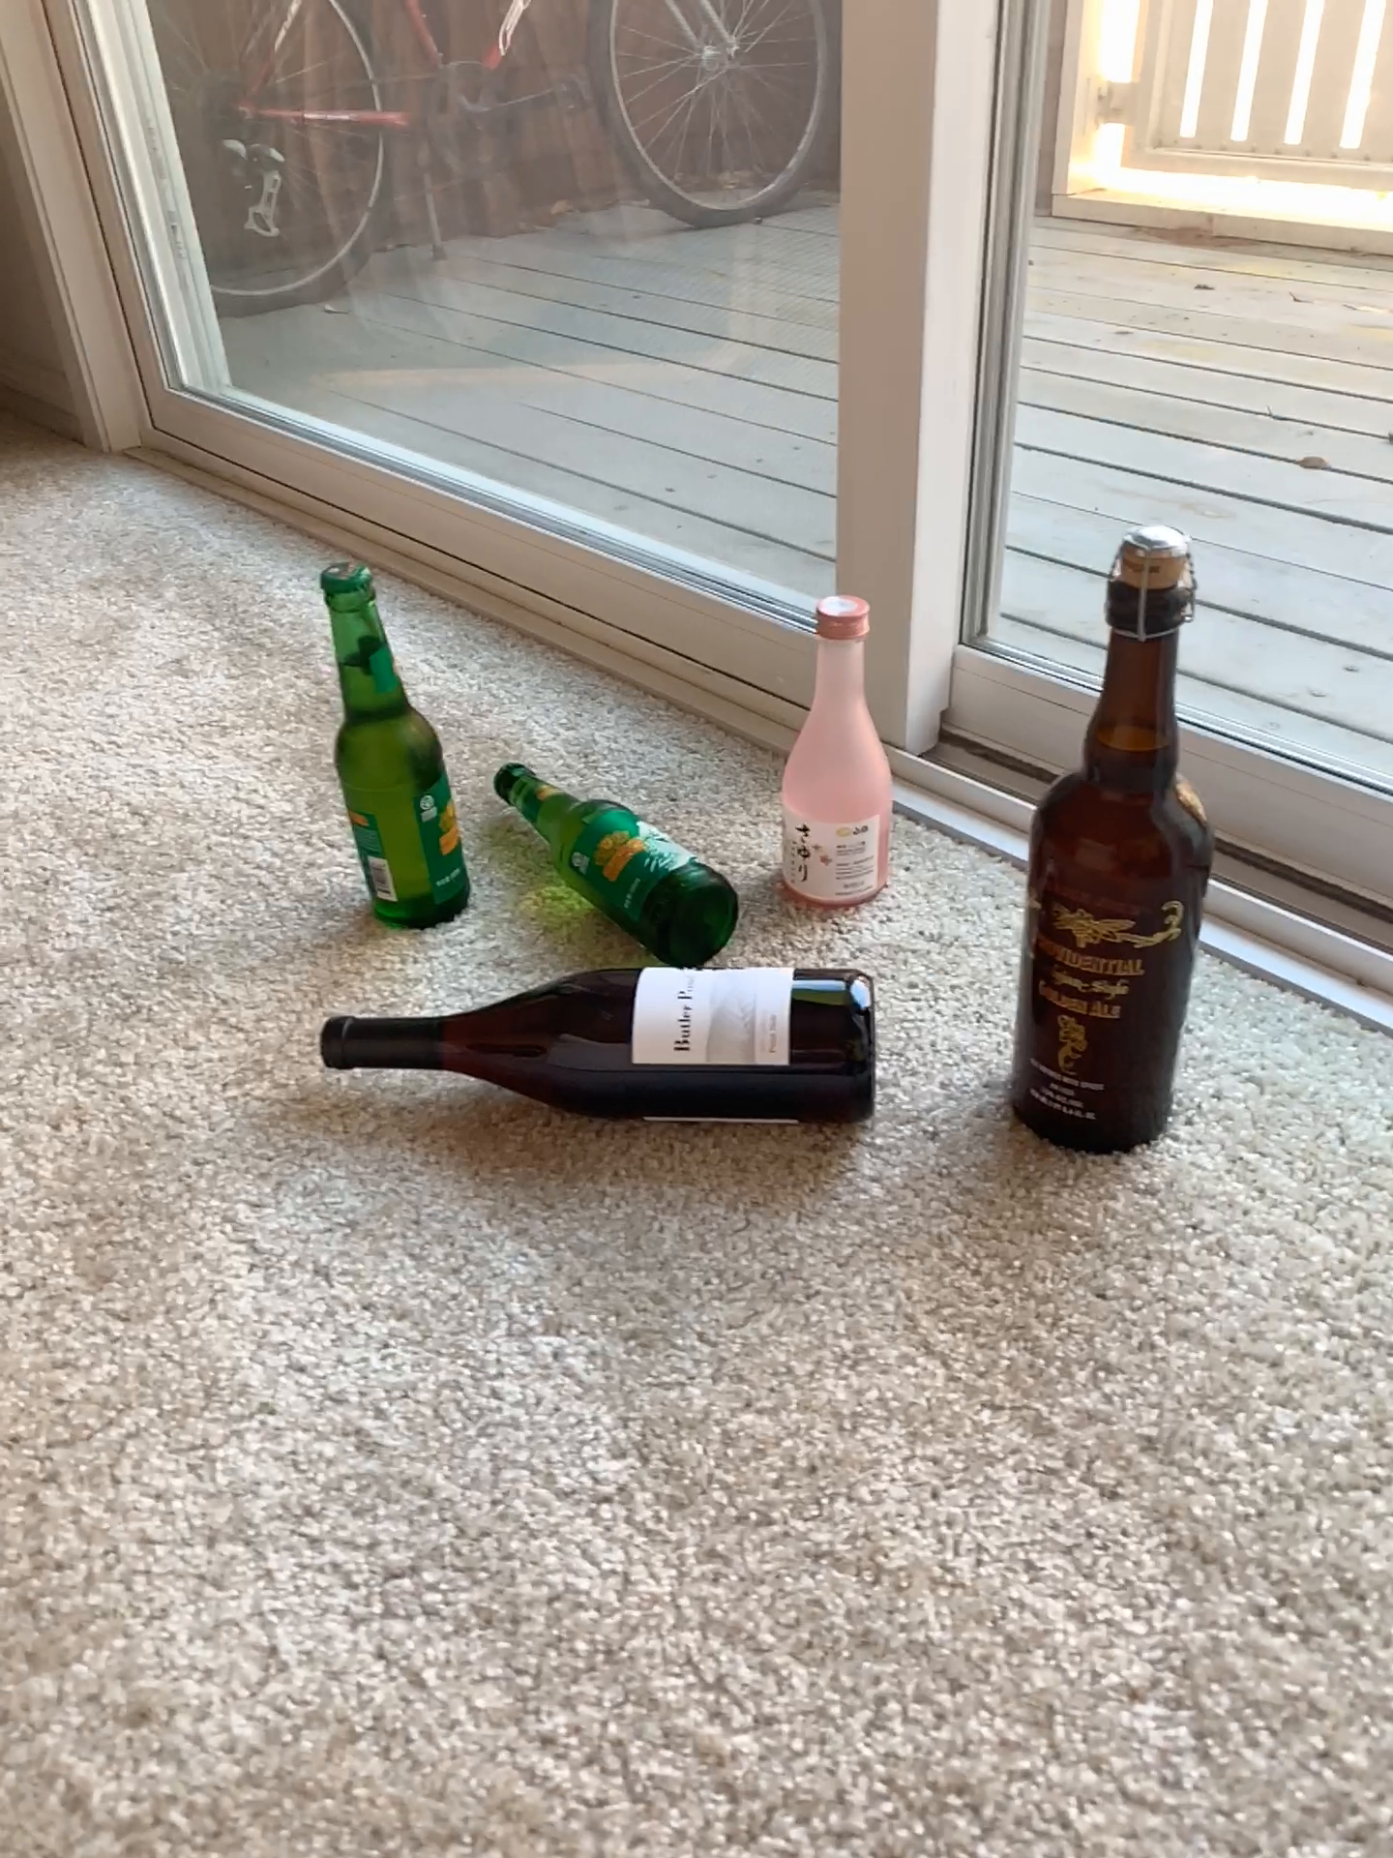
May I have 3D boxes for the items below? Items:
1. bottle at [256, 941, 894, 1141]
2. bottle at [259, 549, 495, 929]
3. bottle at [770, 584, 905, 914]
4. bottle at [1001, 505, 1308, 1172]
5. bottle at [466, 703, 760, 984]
[{"bbox_3d":[-0.054,0.052,0.688,0.290,0.060,0.070,1,35,4],"label":"bottle"},{"bbox_3d":[-0.176,-0.106,0.814,0.080,0.199,0.080,-2,35,1],"label":"bottle"},{"bbox_3d":[0.081,-0.102,0.822,0.070,0.169,0.080,2,35,7],"label":"bottle"},{"bbox_3d":[0.190,-0.030,0.633,0.080,0.288,0.091,2,35,7],"label":"bottle"},{"bbox_3d":[-0.055,-0.059,0.857,0.060,0.060,0.231,-23,41,-26],"label":"bottle"}]
